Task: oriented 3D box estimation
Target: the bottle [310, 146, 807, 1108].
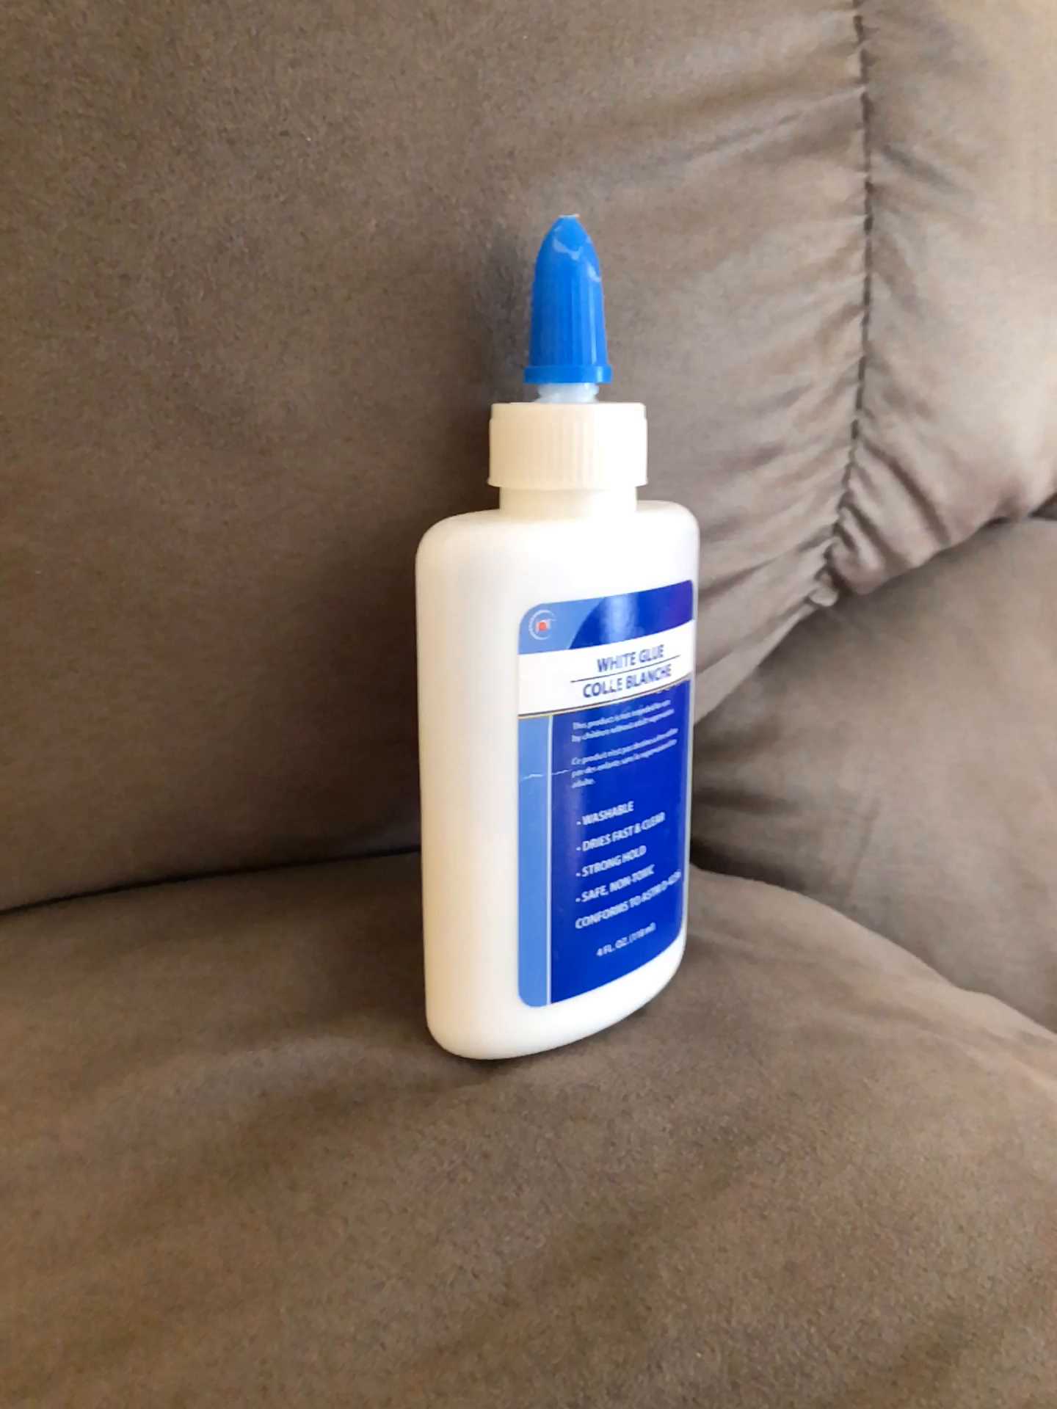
[{"bbox_3d":[0.007,-0.013,0.197,0.040,0.130,0.070,11,17,42],"label":"bottle"}]
